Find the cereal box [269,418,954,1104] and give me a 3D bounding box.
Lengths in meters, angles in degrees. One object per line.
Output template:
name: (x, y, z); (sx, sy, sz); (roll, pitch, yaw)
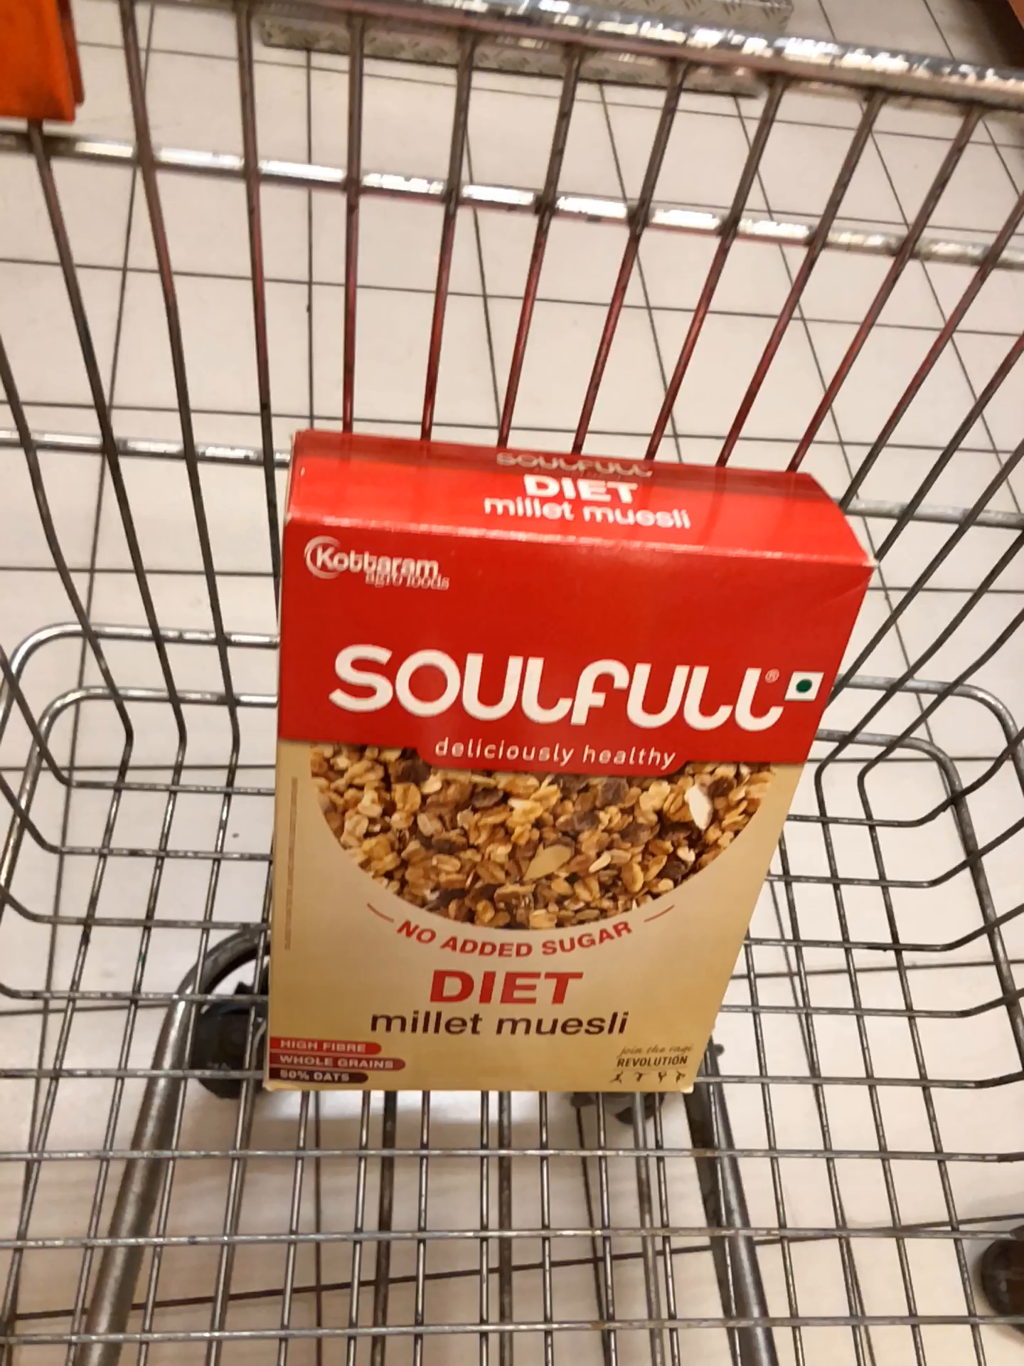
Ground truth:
cereal box: (0.011, 0.047, 0.376); (0.170, 0.249, 0.050); (4, 38, -9)
